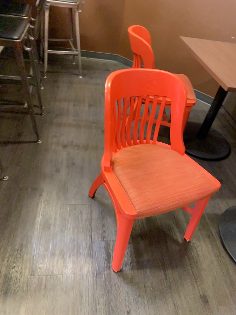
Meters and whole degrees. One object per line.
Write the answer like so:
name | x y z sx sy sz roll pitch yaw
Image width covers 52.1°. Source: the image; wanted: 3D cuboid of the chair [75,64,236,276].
chair | 0.160 0.045 1.232 0.561 0.806 0.582 -12 46 -25
